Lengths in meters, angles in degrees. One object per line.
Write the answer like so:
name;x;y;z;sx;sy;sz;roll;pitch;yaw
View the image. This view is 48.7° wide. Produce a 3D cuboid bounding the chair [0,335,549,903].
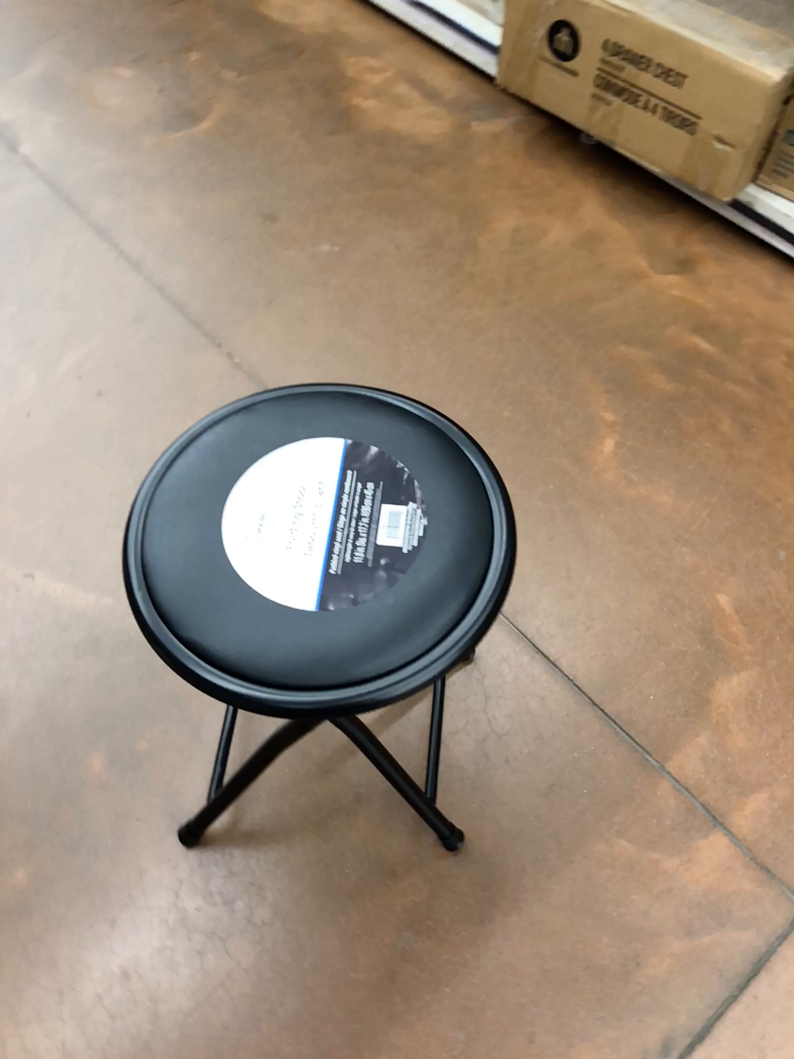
chair;-0.068;0.100;0.759;0.330;0.399;0.321;3;56;2
